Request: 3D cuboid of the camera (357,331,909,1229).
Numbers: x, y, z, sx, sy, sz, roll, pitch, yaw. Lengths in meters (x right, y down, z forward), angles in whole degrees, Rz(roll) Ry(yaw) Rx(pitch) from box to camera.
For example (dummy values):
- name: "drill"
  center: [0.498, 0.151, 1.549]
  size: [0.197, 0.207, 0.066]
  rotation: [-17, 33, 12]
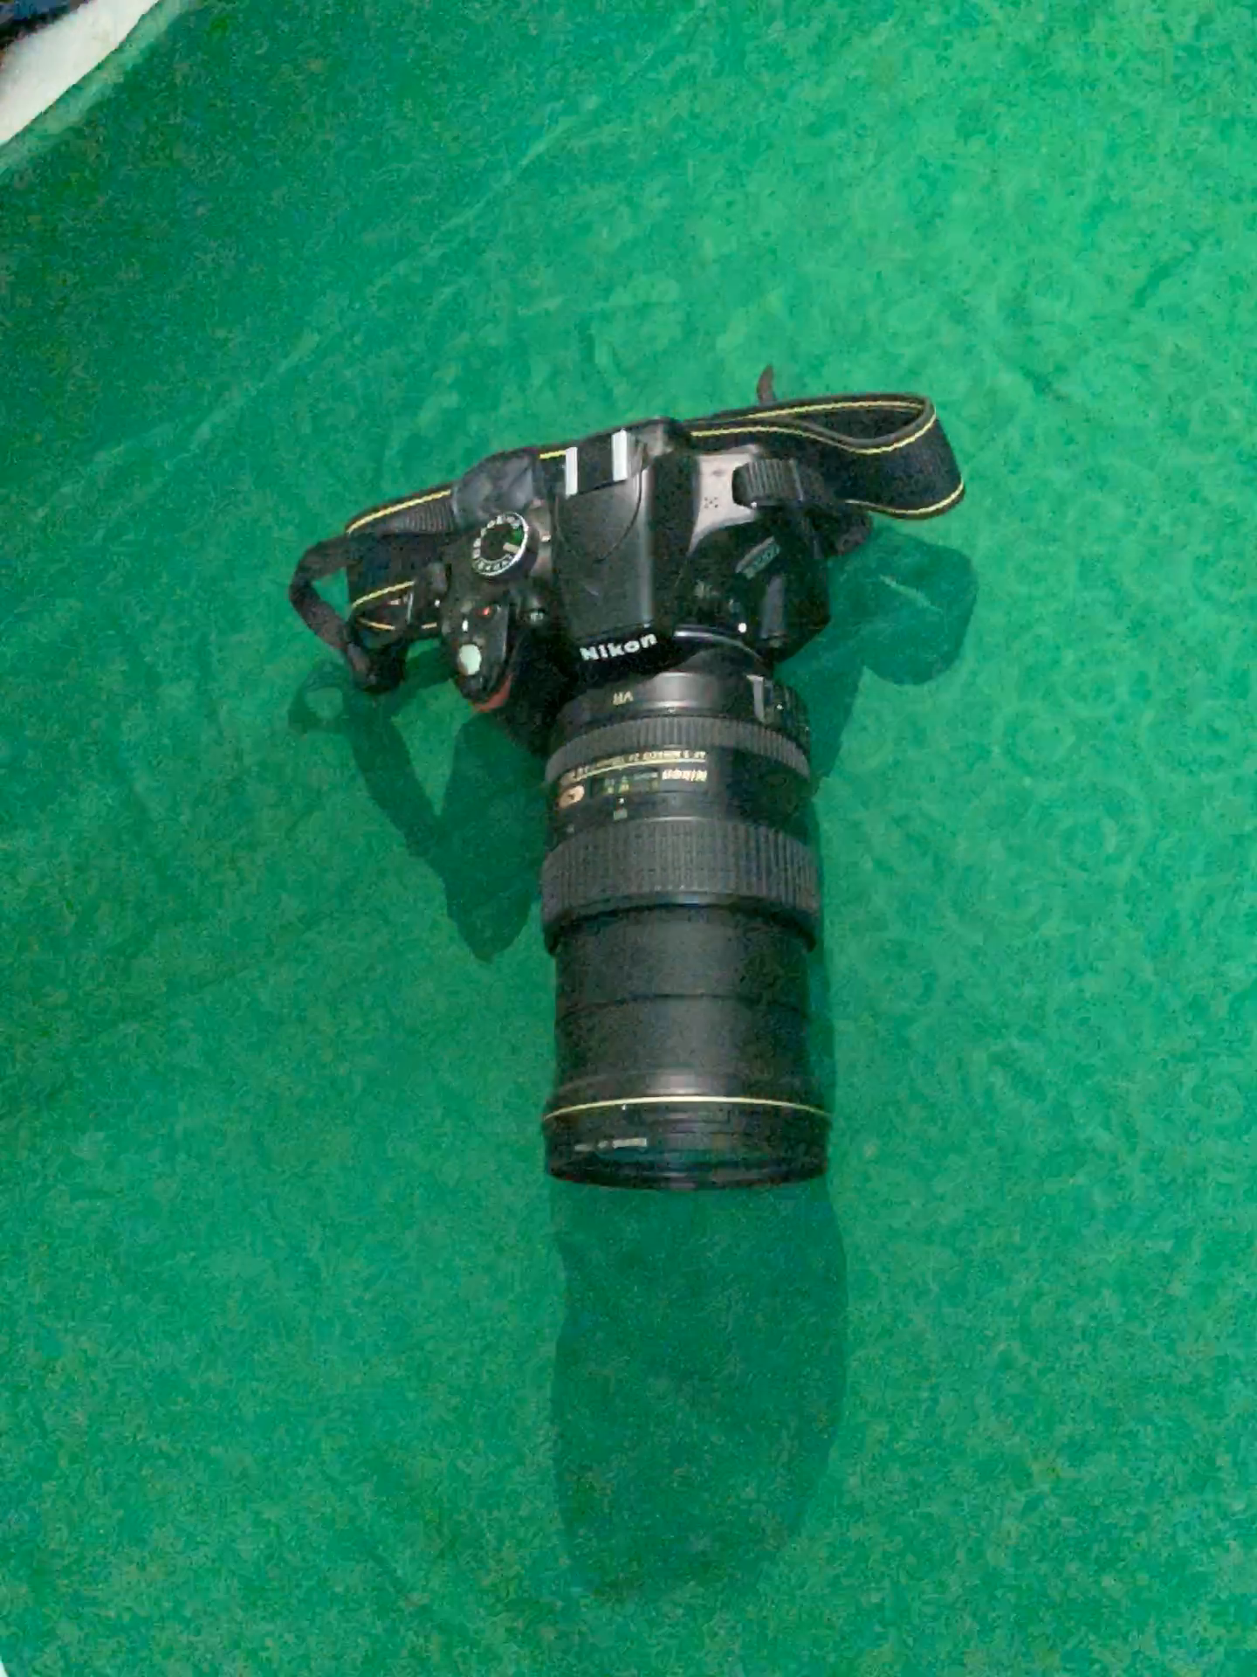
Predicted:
- name: "camera"
  center: [0.003, -0.010, 0.384]
  size: [0.123, 0.088, 0.234]
  rotation: [-9, 68, 22]
